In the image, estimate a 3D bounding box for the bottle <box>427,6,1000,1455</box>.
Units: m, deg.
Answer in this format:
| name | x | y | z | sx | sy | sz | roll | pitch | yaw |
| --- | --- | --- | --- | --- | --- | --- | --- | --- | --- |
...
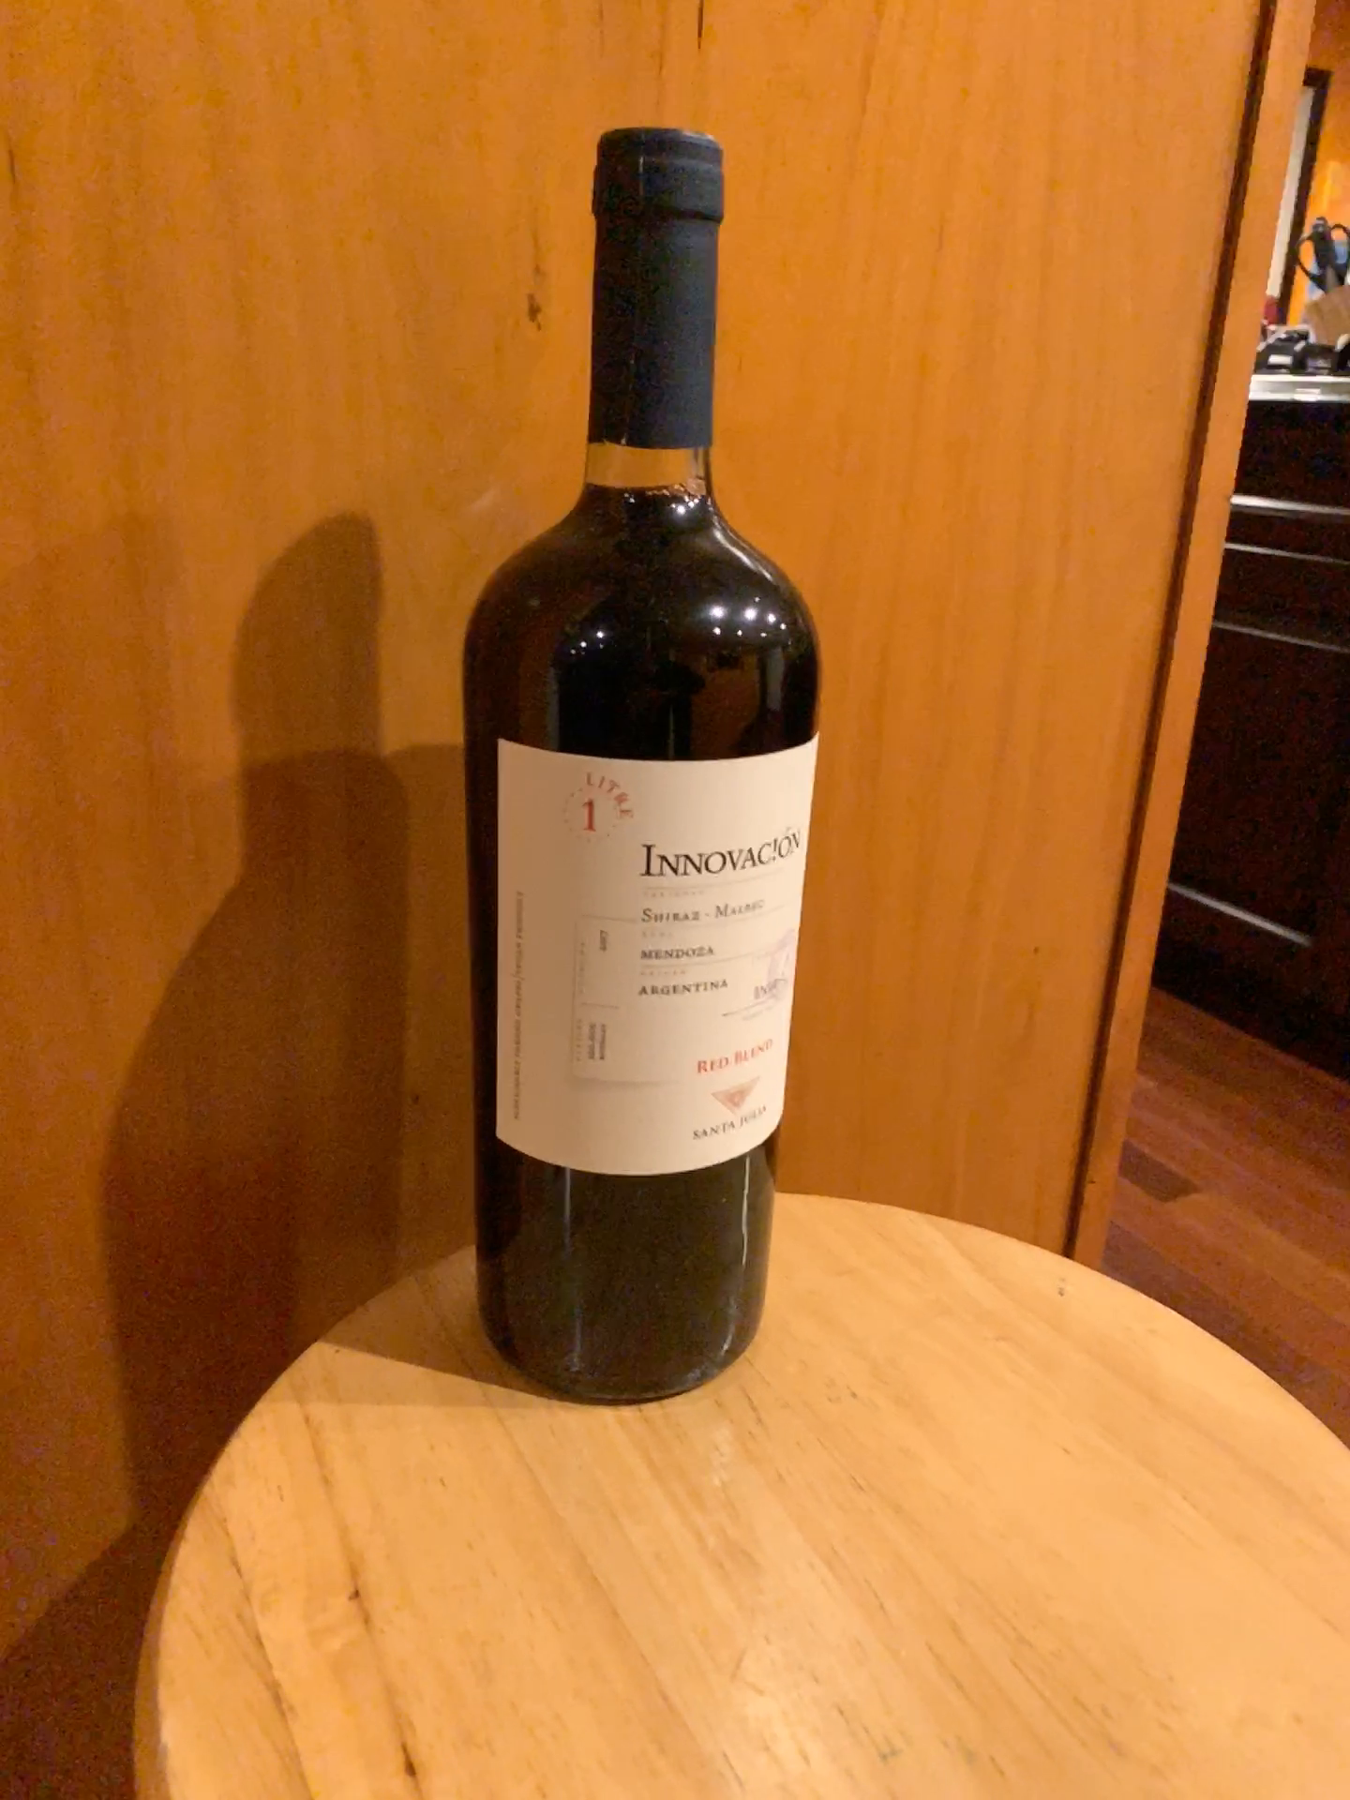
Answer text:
| name | x | y | z | sx | sy | sz | roll | pitch | yaw |
| --- | --- | --- | --- | --- | --- | --- | --- | --- | --- |
| bottle | -0.001 | -0.027 | 0.336 | 0.090 | 0.299 | 0.080 | -8 | 22 | -29 |
